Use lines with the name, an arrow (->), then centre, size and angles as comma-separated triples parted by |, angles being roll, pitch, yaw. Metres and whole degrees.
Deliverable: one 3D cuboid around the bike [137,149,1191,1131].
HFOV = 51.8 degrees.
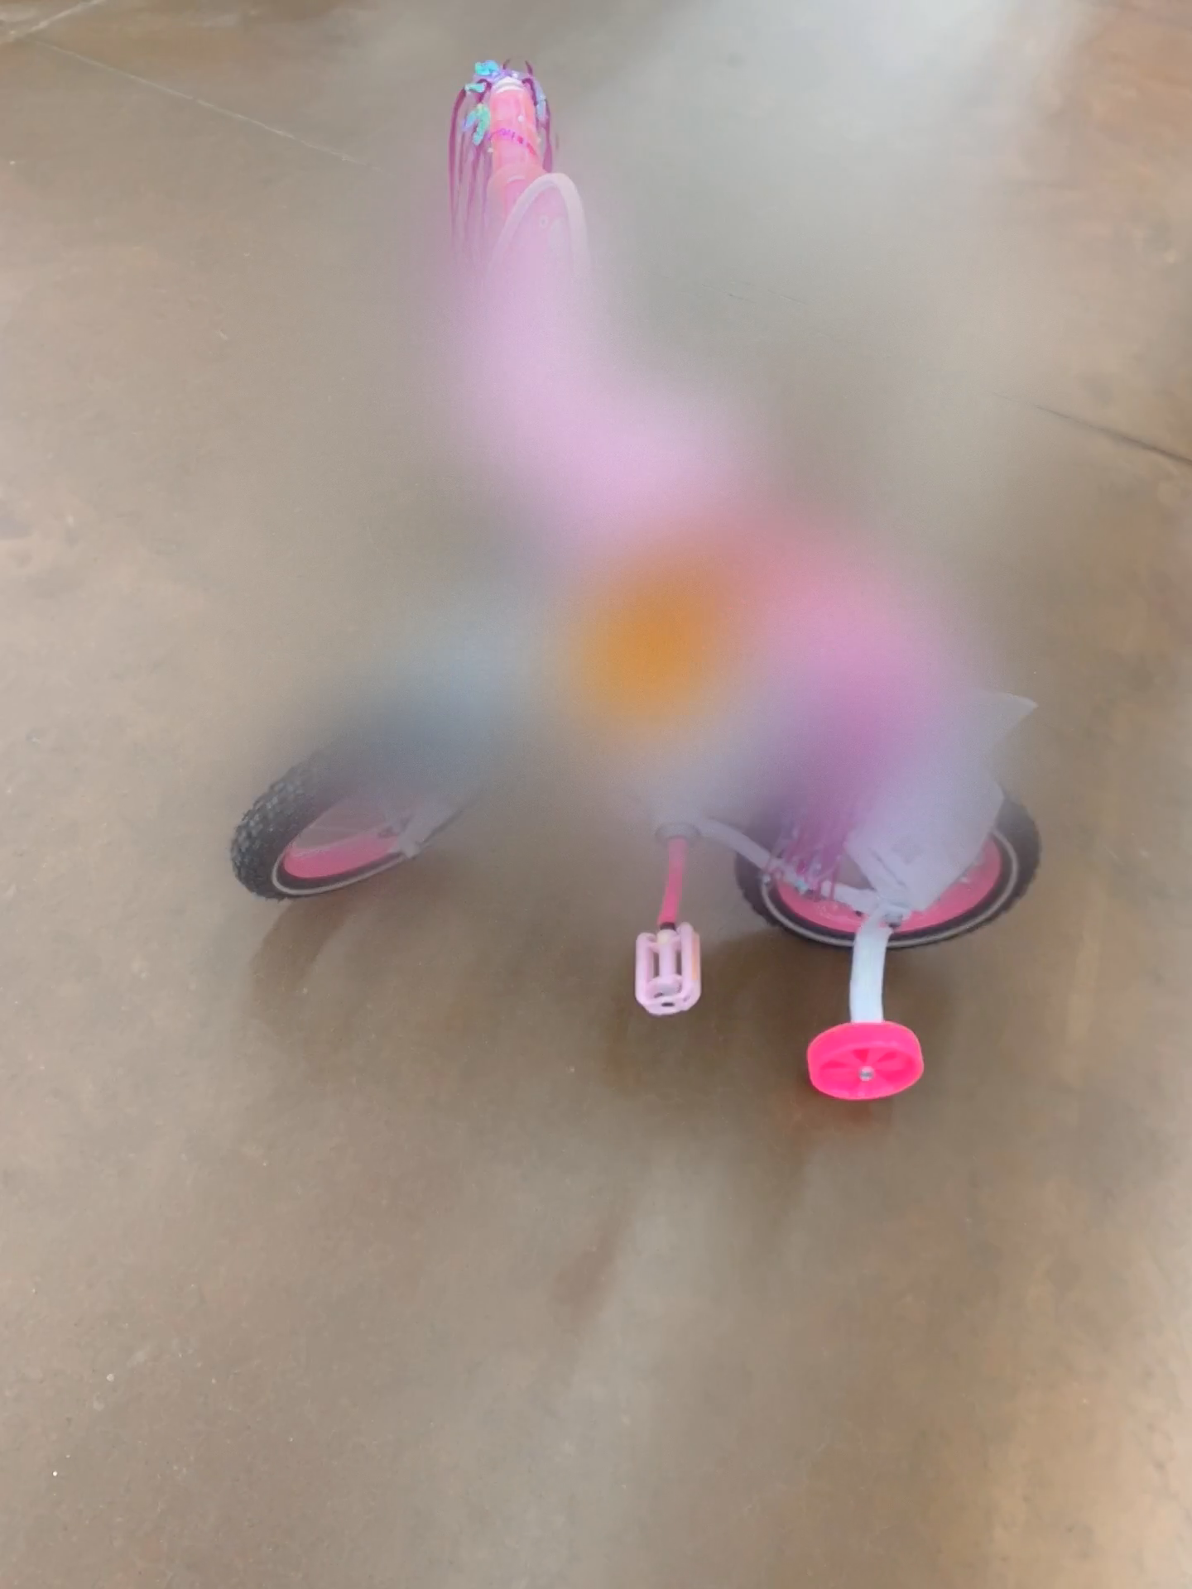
bike -> 0.075, -0.072, 1.048 | 0.776, 0.708, 0.429 | 1, 50, -7
